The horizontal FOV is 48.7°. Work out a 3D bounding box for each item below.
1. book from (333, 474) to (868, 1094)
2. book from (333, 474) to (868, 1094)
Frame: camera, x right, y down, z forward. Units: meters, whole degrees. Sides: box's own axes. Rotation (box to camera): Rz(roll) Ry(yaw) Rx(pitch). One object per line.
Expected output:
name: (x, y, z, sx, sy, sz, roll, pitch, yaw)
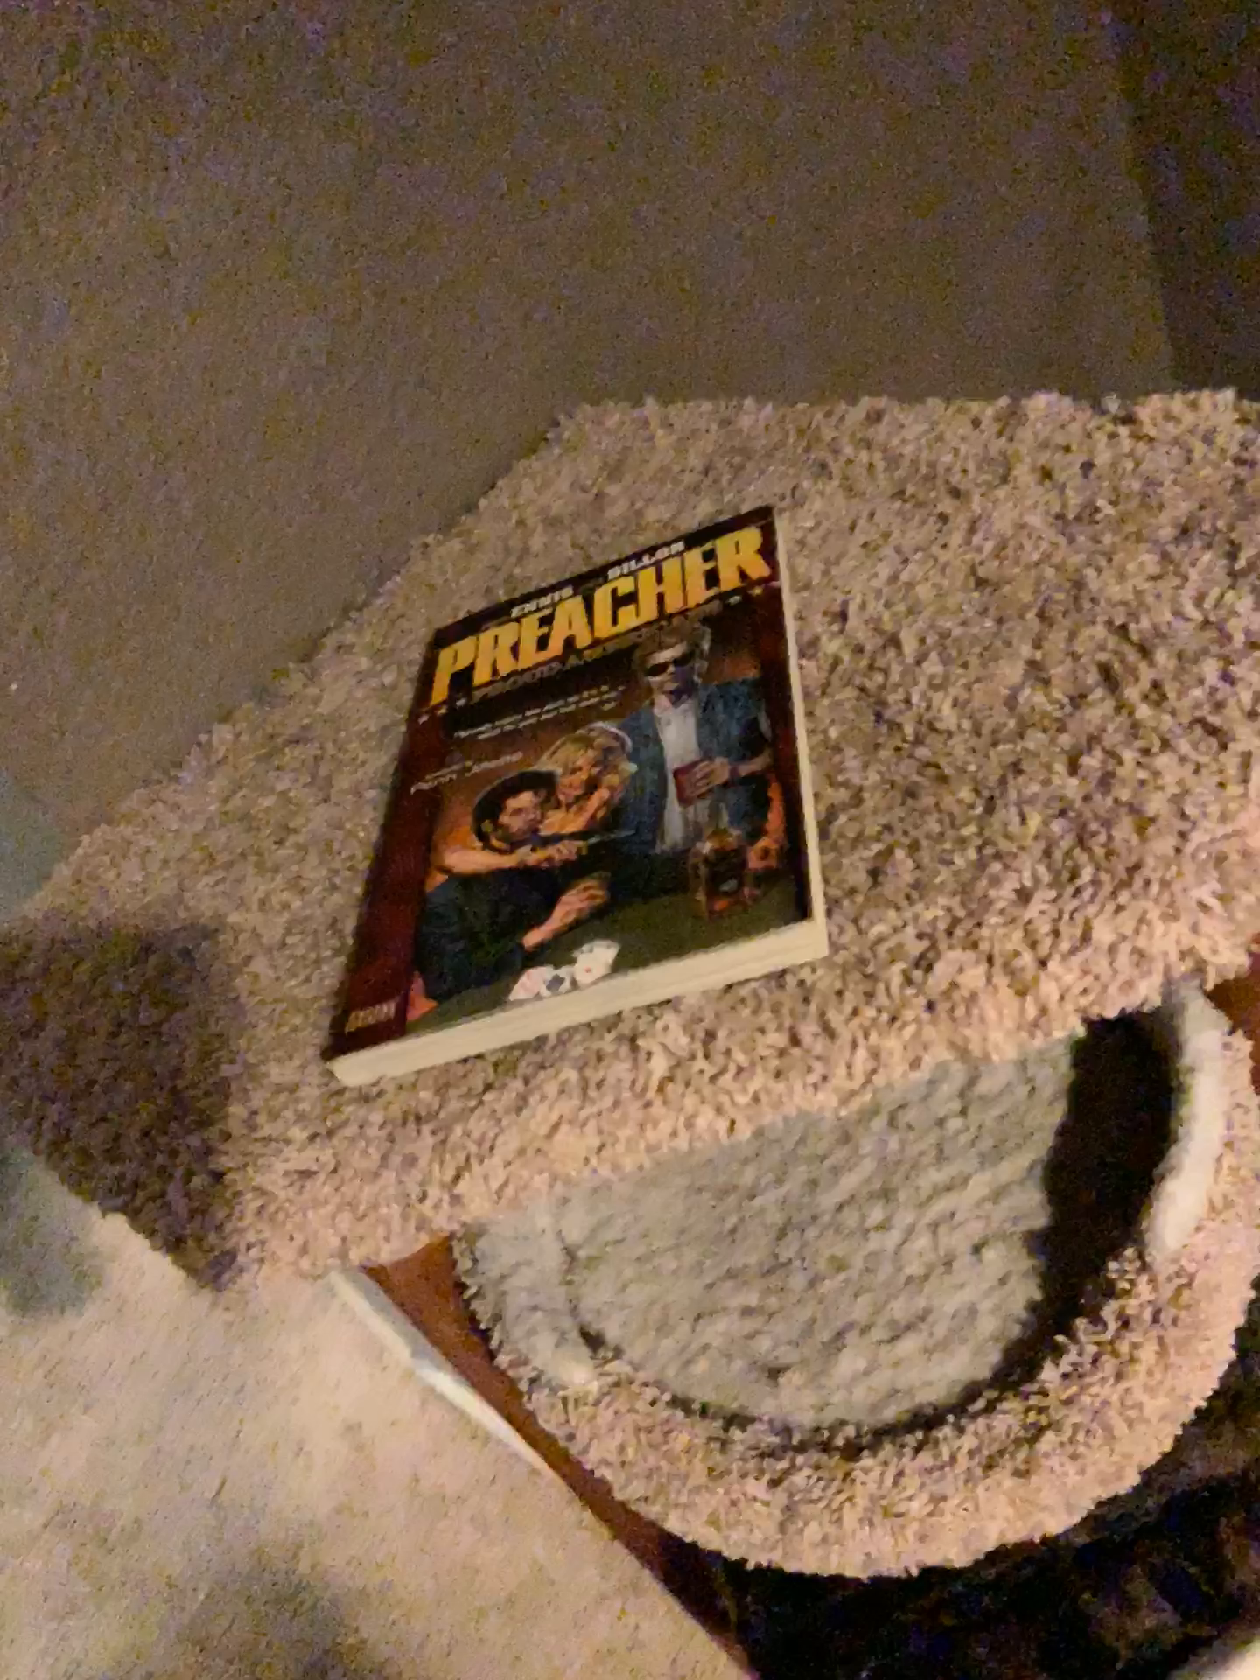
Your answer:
book: (-0.012, -0.038, 0.528, 0.170, 0.020, 0.270, -18, 39, 15)
book: (-0.012, -0.038, 0.528, 0.170, 0.020, 0.270, -18, 39, 15)
